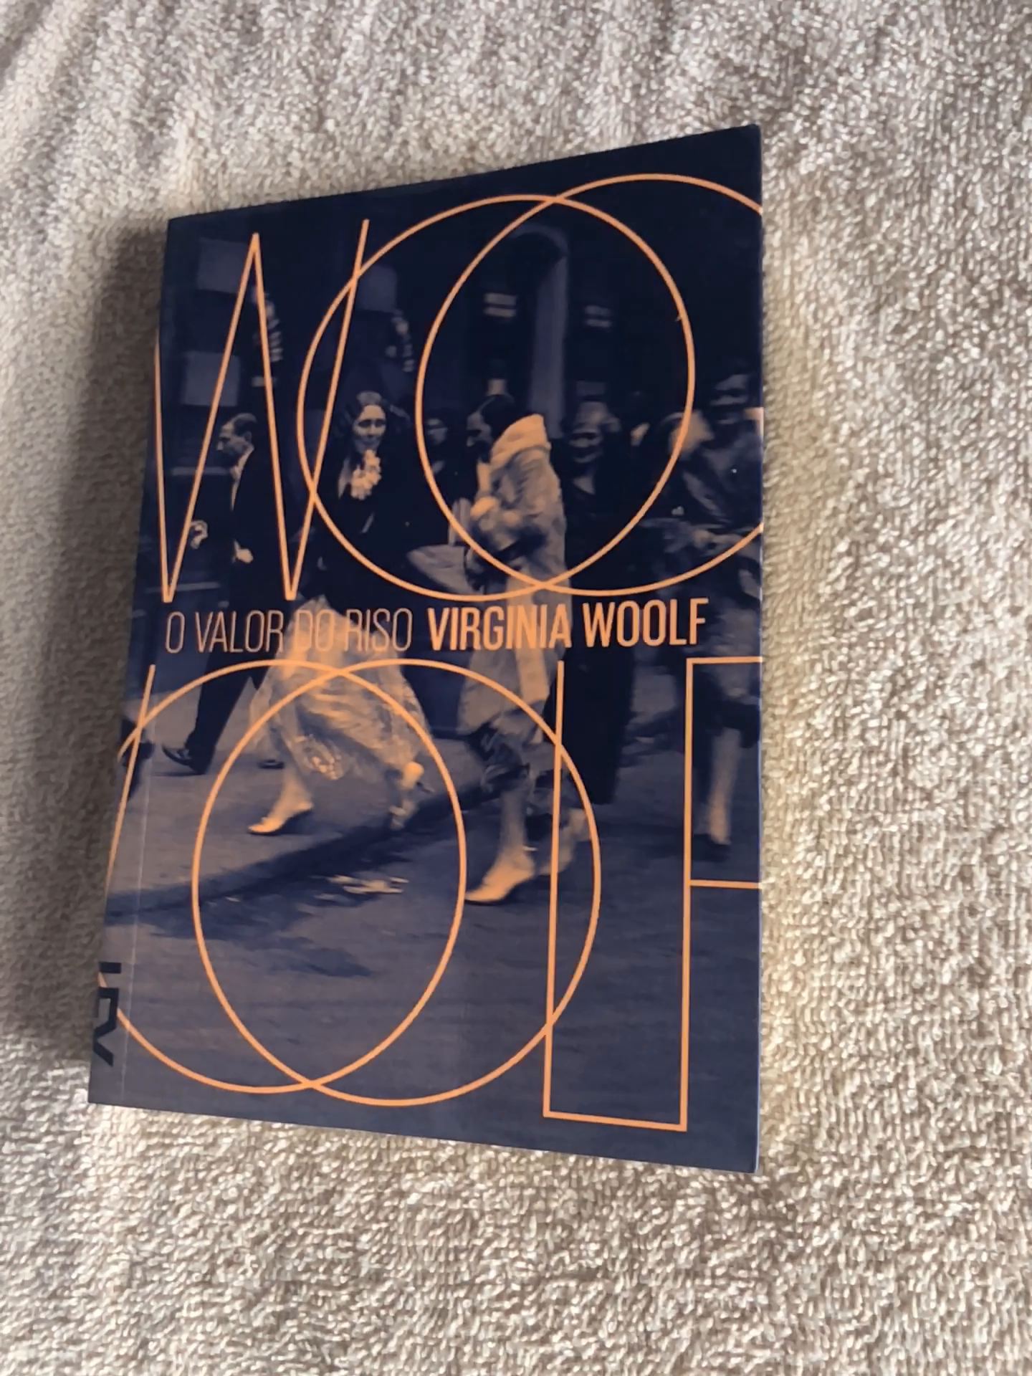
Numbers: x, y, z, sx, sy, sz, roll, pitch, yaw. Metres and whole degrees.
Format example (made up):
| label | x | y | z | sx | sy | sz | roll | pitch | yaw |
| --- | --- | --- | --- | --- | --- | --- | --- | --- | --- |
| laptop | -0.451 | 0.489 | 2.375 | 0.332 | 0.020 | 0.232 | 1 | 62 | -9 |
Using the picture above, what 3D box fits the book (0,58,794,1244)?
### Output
| label | x | y | z | sx | sy | sz | roll | pitch | yaw |
| --- | --- | --- | --- | --- | --- | --- | --- | --- | --- |
| book | -0.019 | -0.008 | 0.224 | 0.140 | 0.050 | 0.190 | 0 | 84 | 13 |
